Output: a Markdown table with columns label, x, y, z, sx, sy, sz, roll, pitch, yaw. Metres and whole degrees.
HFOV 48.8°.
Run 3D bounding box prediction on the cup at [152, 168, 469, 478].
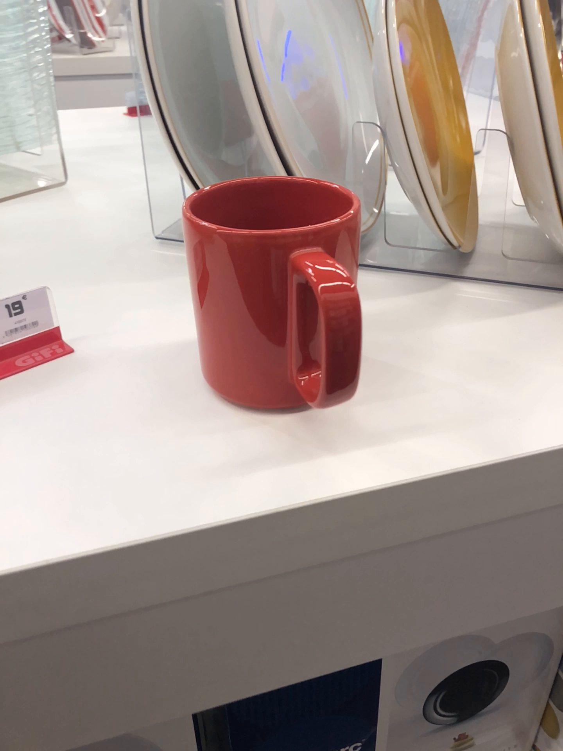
| label | x | y | z | sx | sy | sz | roll | pitch | yaw |
| --- | --- | --- | --- | --- | --- | --- | --- | --- | --- |
| cup | 0.005 | -0.036 | 0.293 | 0.091 | 0.082 | 0.130 | -14 | 35 | -19 |
